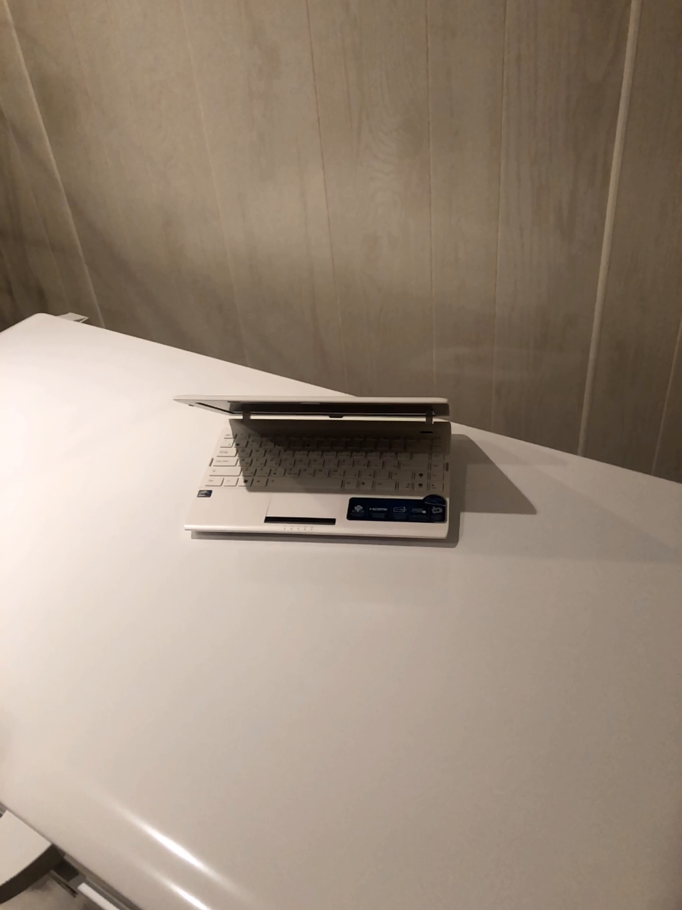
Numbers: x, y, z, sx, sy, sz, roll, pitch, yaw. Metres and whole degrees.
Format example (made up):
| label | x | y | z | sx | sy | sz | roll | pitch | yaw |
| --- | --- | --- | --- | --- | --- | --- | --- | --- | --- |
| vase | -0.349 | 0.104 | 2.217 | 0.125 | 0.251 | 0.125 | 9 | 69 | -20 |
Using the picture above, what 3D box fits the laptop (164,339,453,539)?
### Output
| label | x | y | z | sx | sy | sz | roll | pitch | yaw |
| --- | --- | --- | --- | --- | --- | --- | --- | --- | --- |
| laptop | -0.022 | -0.026 | 0.866 | 0.297 | 0.115 | 0.199 | 1 | 41 | 9 |
